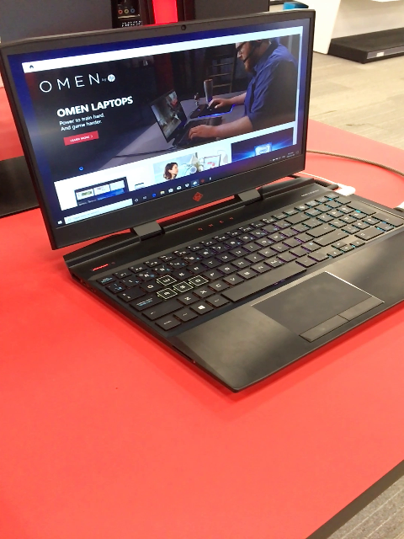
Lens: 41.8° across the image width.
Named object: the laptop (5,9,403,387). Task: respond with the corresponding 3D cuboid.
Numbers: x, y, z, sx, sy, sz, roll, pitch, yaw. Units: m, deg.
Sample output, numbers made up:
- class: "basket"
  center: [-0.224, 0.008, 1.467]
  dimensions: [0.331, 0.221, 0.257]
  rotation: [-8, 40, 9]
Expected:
- class: "laptop"
  center: [0.083, -0.105, 0.537]
  dimensions: [0.371, 0.220, 0.297]
  rotation: [-26, 48, -31]
